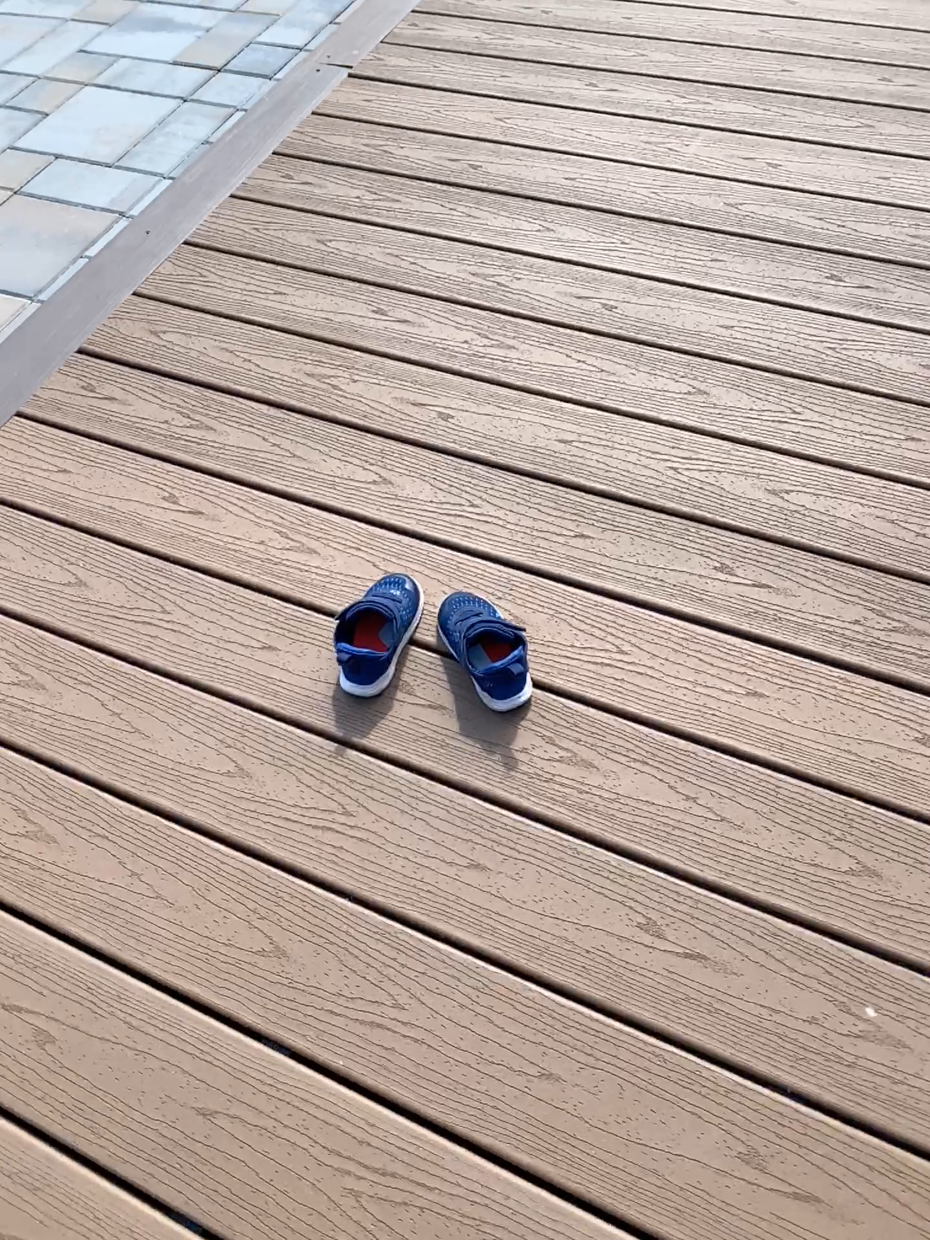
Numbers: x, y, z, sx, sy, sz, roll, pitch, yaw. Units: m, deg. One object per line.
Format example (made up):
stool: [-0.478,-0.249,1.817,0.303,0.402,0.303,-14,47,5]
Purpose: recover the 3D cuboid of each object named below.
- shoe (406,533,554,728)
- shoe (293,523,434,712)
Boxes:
shoe: [0.016,0.009,0.999,0.080,0.090,0.171,-25,55,-11]
shoe: [-0.103,-0.004,1.014,0.080,0.090,0.170,11,57,14]
